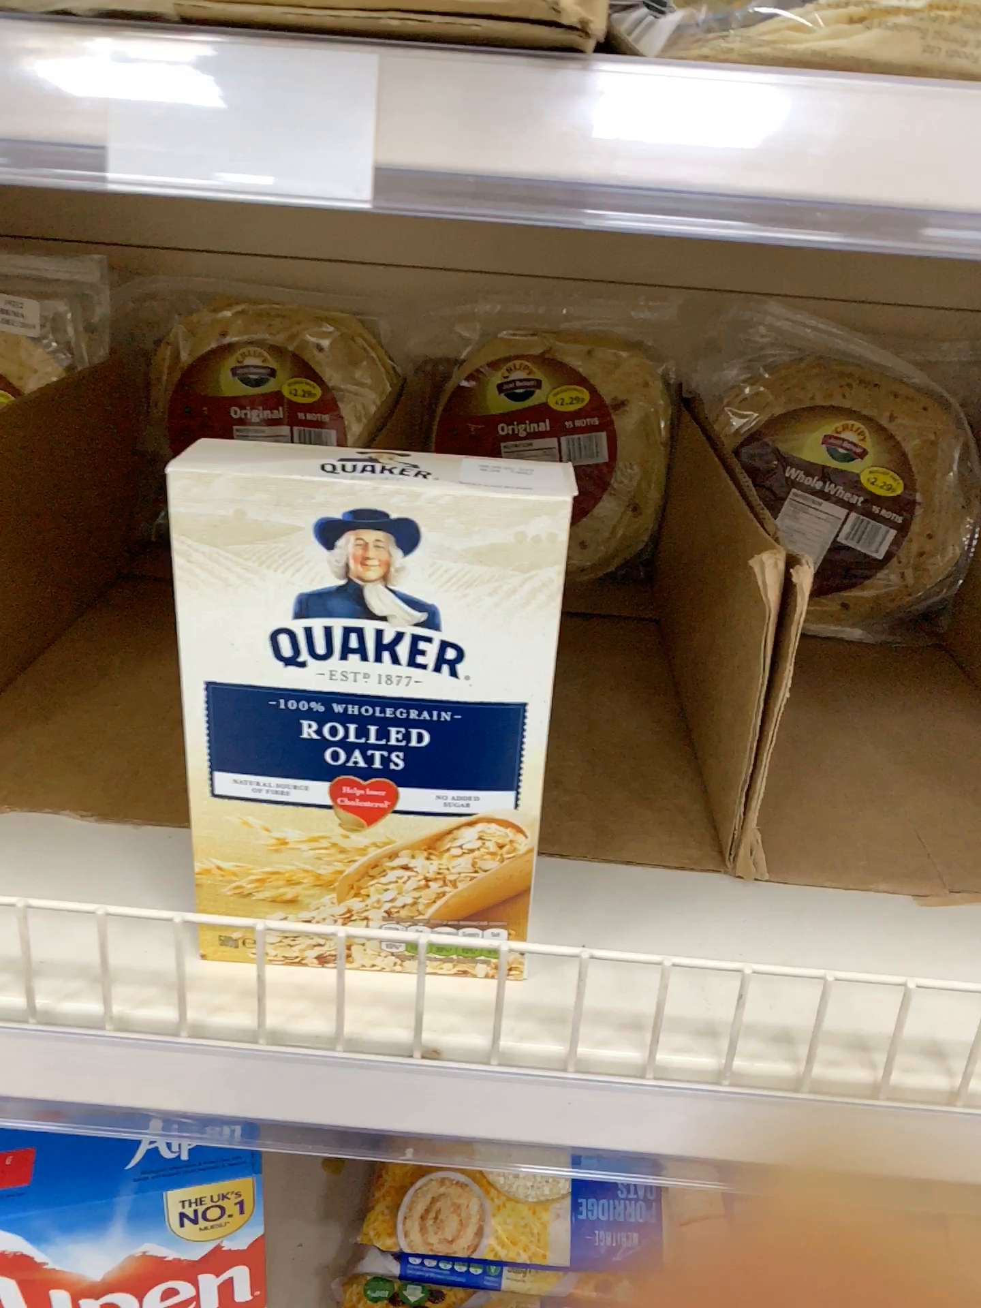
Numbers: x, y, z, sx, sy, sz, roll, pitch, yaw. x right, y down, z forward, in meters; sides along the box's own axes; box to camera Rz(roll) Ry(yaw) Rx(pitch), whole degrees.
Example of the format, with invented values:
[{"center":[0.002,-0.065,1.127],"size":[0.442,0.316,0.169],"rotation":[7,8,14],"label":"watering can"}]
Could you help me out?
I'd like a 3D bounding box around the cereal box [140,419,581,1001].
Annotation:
[{"center":[-0.051,0.030,0.412],"size":[0.150,0.228,0.050],"rotation":[4,24,0],"label":"cereal box"}]
